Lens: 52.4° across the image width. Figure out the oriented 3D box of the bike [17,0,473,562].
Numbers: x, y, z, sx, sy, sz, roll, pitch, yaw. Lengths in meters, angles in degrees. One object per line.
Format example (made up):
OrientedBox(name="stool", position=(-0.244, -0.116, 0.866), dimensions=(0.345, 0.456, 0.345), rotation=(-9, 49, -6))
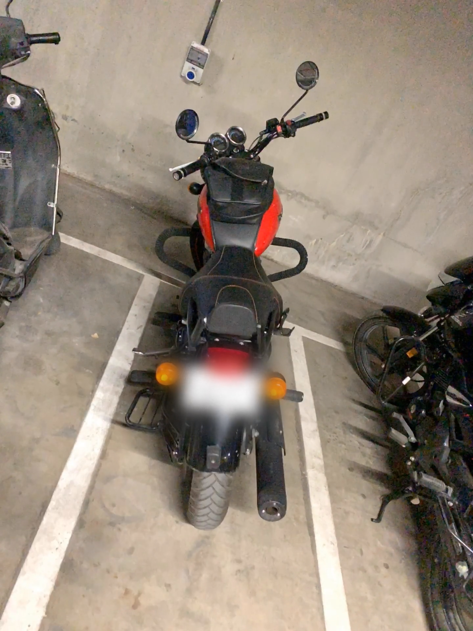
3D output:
OrientedBox(name="bike", position=(-0.135, -0.335, 1.989), dimensions=(0.829, 1.302, 1.841), rotation=(16, 33, -20))
